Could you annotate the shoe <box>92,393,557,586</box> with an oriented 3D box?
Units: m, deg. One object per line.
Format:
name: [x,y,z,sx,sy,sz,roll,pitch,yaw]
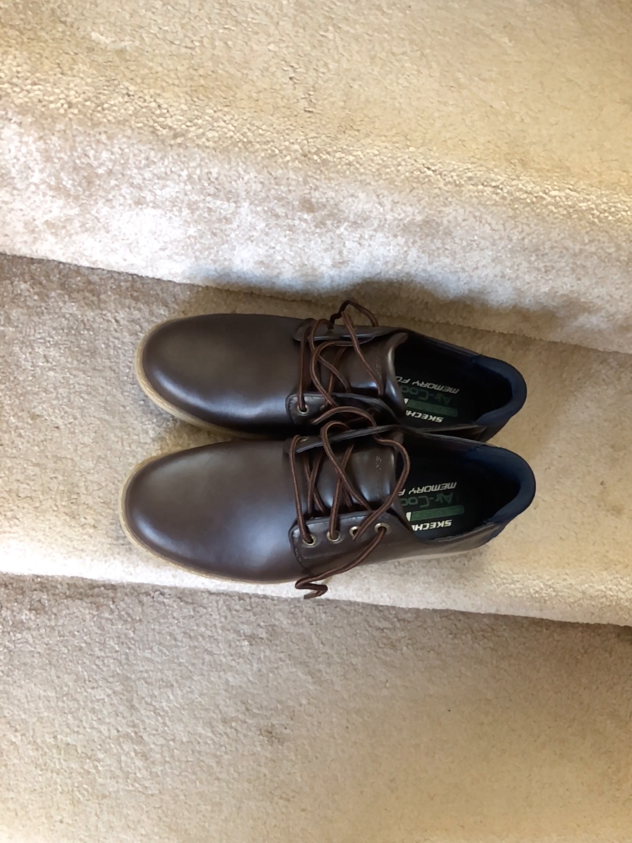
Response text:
shoe: [0.004,0.053,0.499,0.300,0.090,0.110,2,70,-12]

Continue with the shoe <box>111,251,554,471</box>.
shoe: [0.011,-0.037,0.521,0.300,0.090,0.110,4,69,-11]
